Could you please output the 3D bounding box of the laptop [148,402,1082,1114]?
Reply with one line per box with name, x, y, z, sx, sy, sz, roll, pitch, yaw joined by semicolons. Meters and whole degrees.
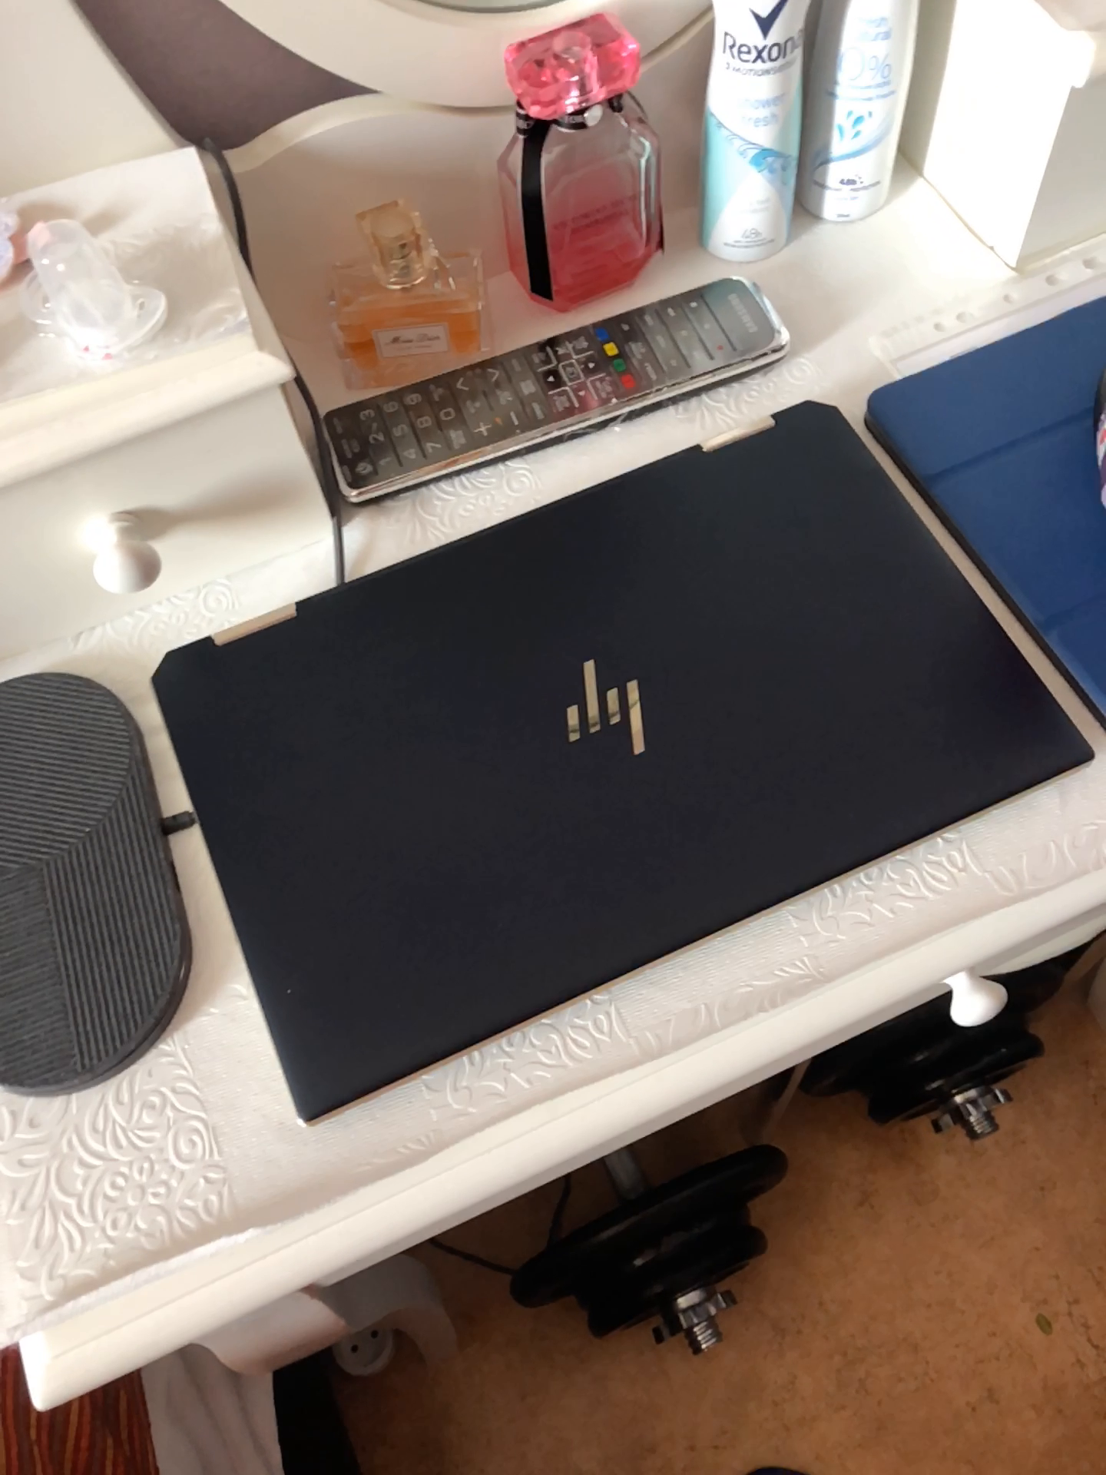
laptop;0.021;-0.011;0.404;0.267;0.007;0.161;-22;66;-14
